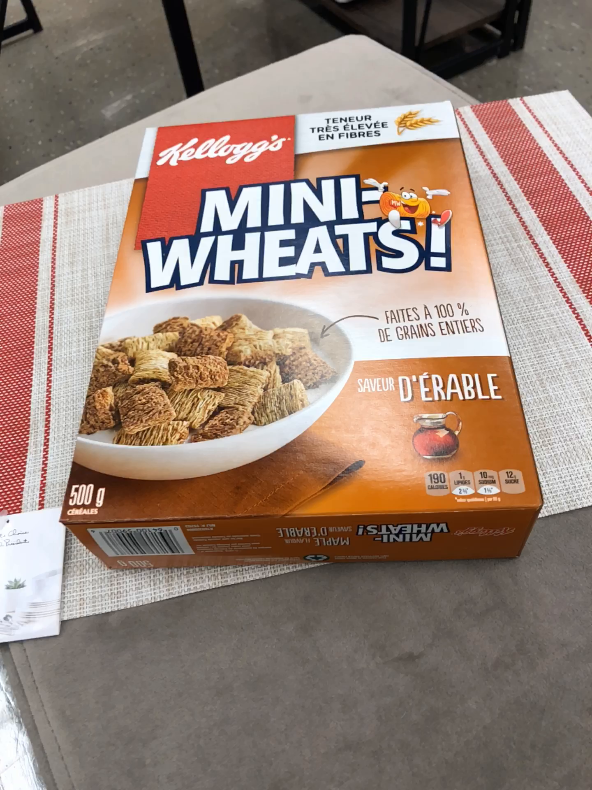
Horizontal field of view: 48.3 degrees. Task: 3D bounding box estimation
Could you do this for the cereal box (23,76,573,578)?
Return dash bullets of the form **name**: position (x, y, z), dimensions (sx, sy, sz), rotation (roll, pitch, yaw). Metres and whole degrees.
- **cereal box**: position (0.001, -0.053, 0.353), dimensions (0.210, 0.060, 0.281), rotation (-3, 56, 5)
